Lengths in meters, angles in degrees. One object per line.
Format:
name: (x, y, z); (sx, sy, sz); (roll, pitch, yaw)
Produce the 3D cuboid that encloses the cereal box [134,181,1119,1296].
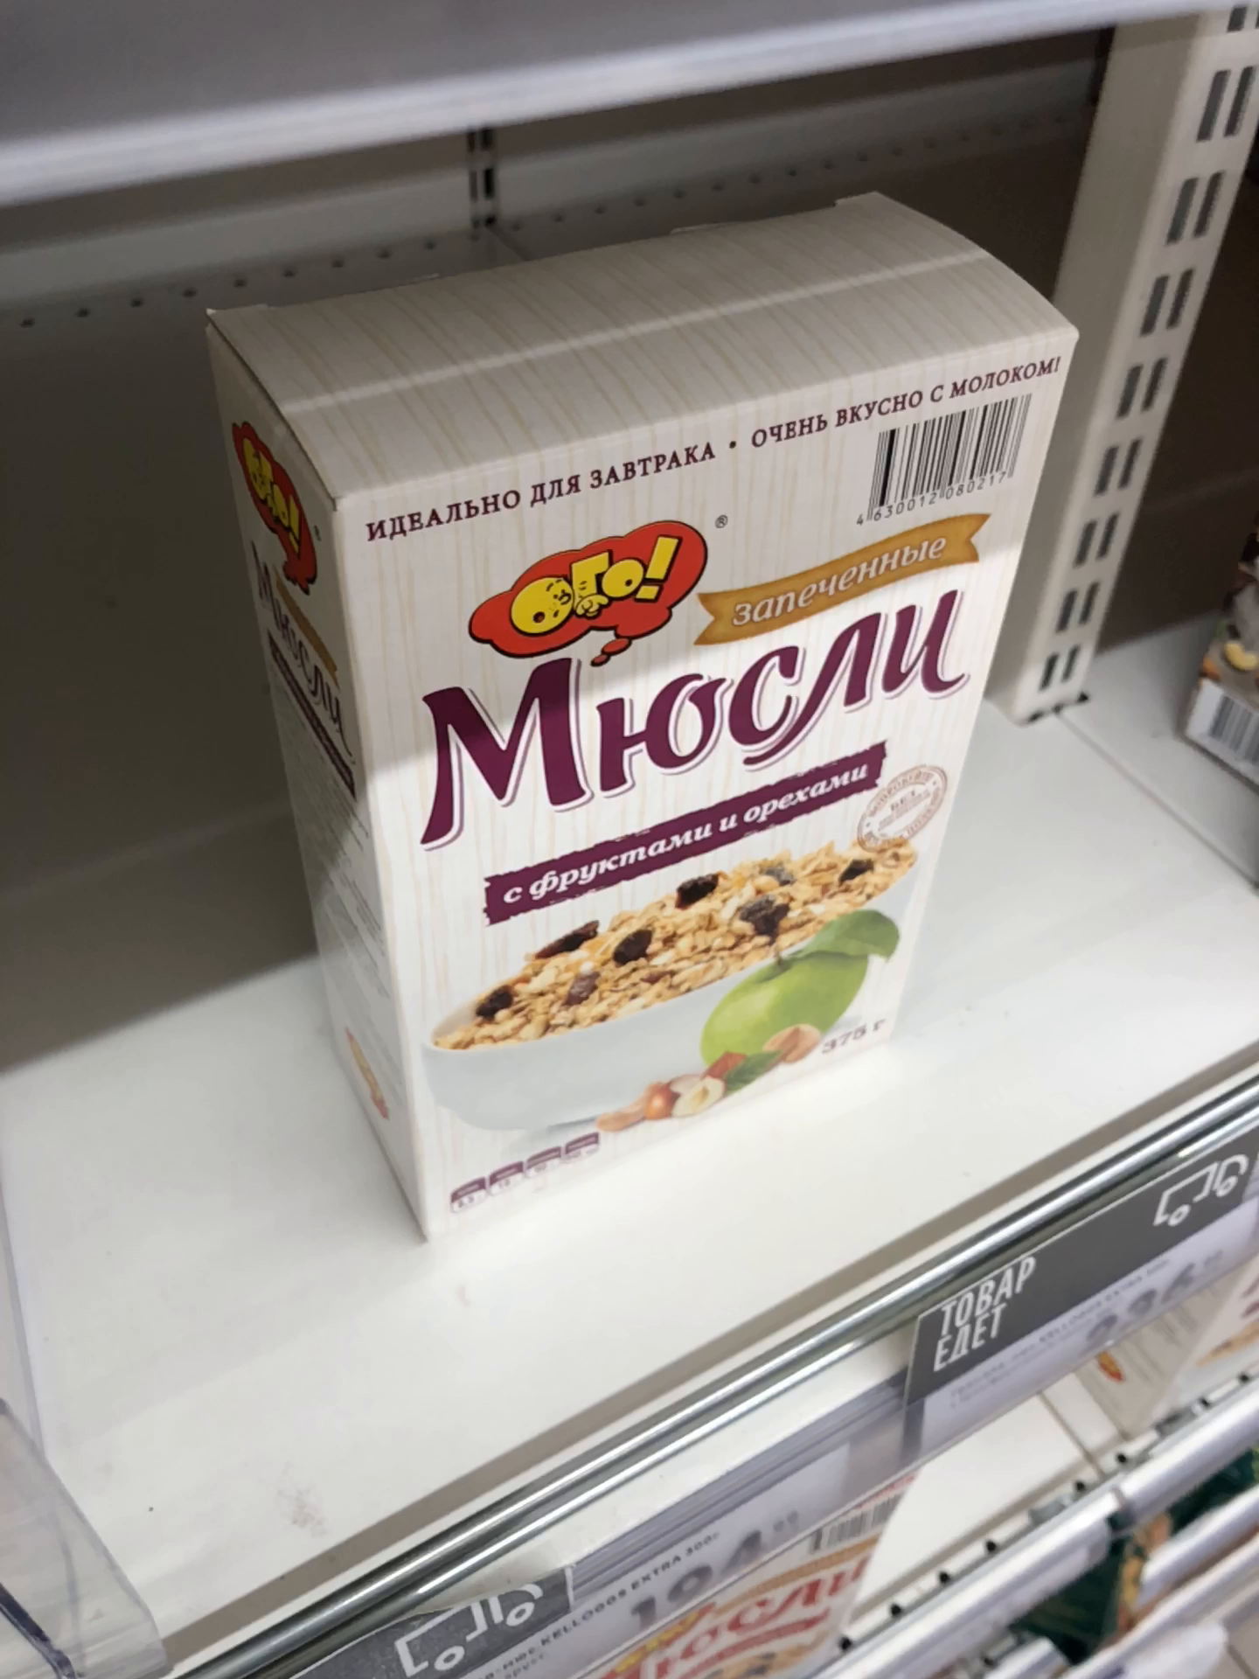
cereal box: (-0.002, -0.011, 0.294); (0.140, 0.199, 0.070); (-20, 49, -20)
